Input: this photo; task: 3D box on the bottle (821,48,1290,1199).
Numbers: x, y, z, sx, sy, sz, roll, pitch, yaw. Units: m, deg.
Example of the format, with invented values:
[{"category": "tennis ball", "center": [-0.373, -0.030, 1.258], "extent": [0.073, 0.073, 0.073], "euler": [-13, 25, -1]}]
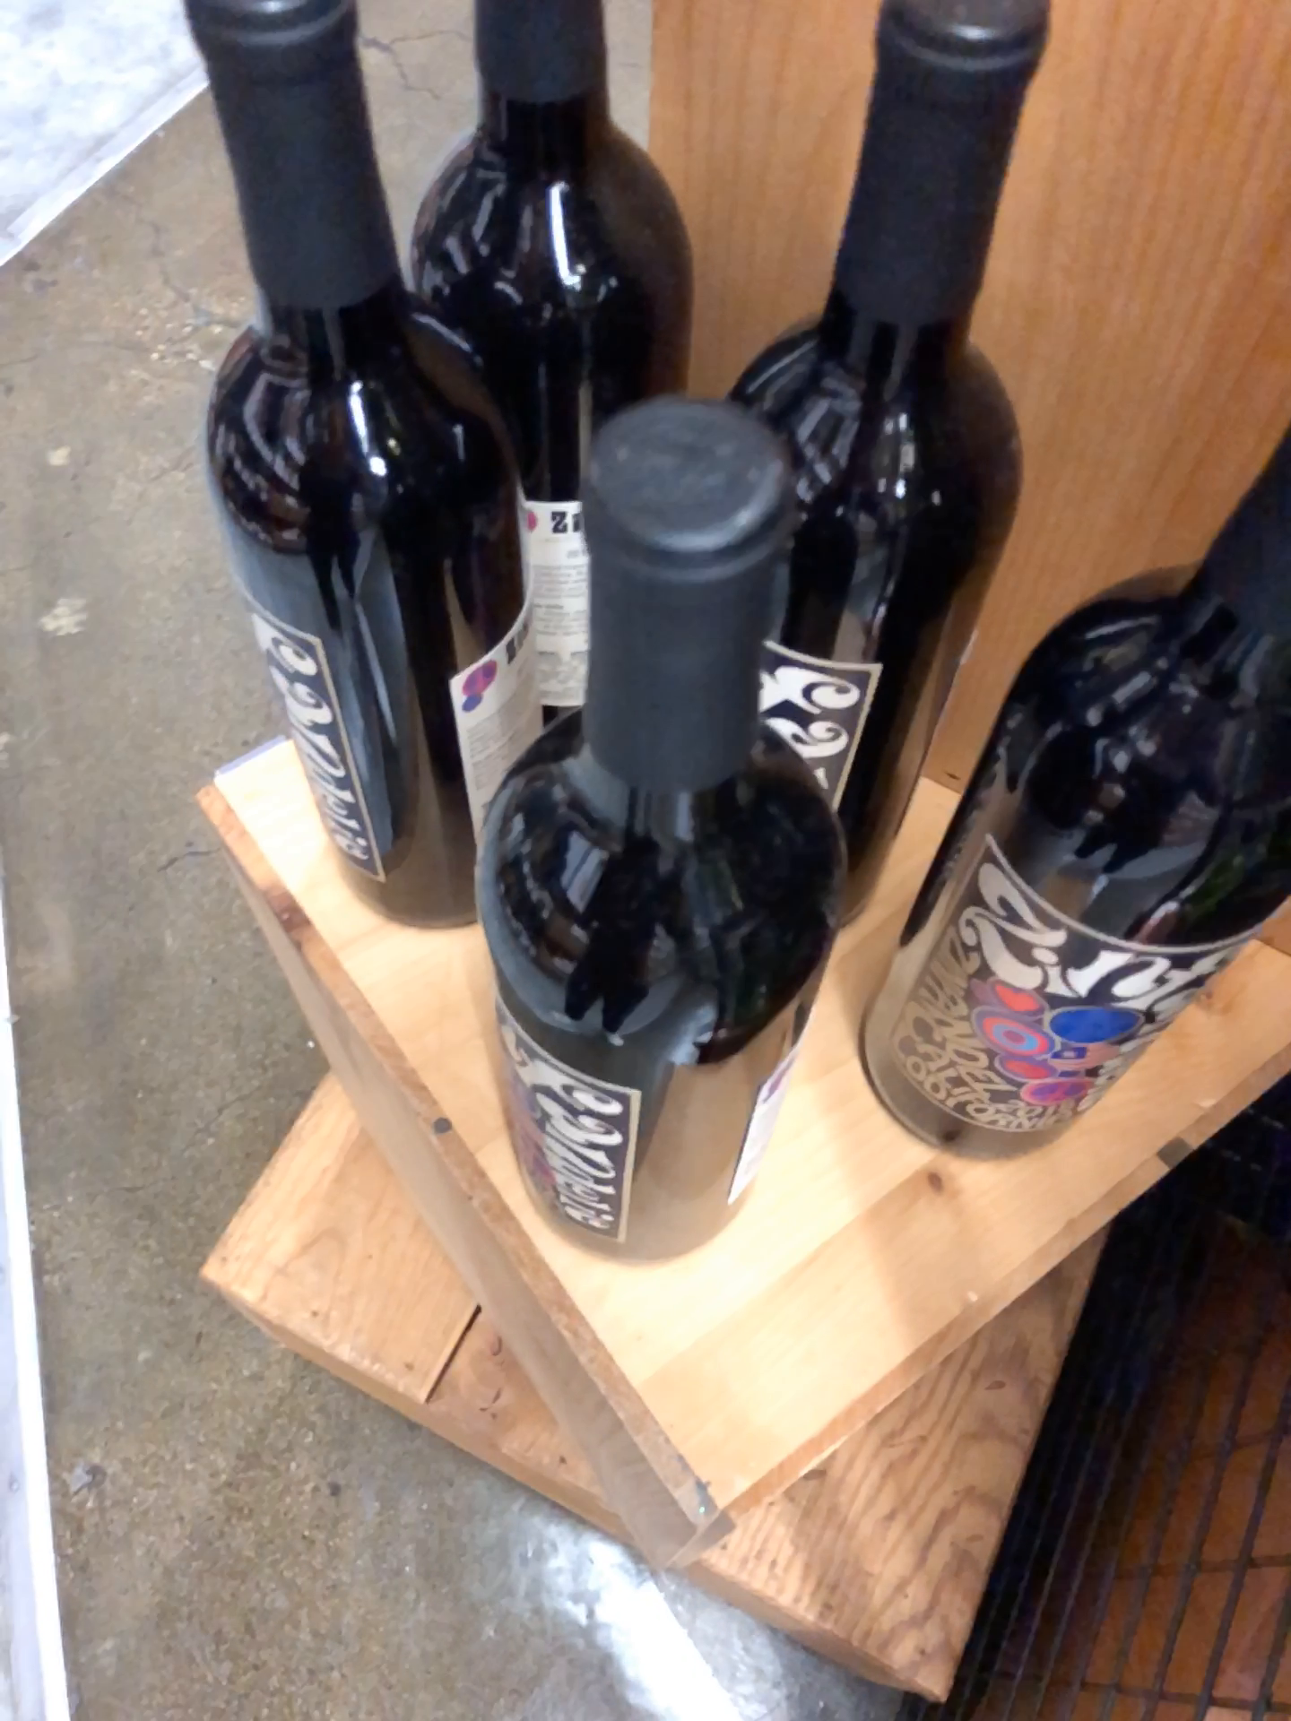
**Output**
[{"category": "bottle", "center": [0.111, -0.010, 0.335], "extent": [0.080, 0.311, 0.077], "euler": [1, 62, -1]}]

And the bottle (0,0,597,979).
[{"category": "bottle", "center": [-0.067, -0.080, 0.374], "extent": [0.077, 0.305, 0.080], "euler": [1, 62, -1]}]

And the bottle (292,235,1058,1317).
[{"category": "bottle", "center": [-0.001, 0.021, 0.307], "extent": [0.070, 0.287, 0.073], "euler": [1, 62, -1]}]

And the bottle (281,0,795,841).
[{"category": "bottle", "center": [-0.025, -0.111, 0.365], "extent": [0.080, 0.281, 0.077], "euler": [1, 62, -1]}]

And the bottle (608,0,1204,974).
[{"category": "bottle", "center": [0.041, -0.073, 0.350], "extent": [0.080, 0.275, 0.077], "euler": [1, 62, -1]}]
